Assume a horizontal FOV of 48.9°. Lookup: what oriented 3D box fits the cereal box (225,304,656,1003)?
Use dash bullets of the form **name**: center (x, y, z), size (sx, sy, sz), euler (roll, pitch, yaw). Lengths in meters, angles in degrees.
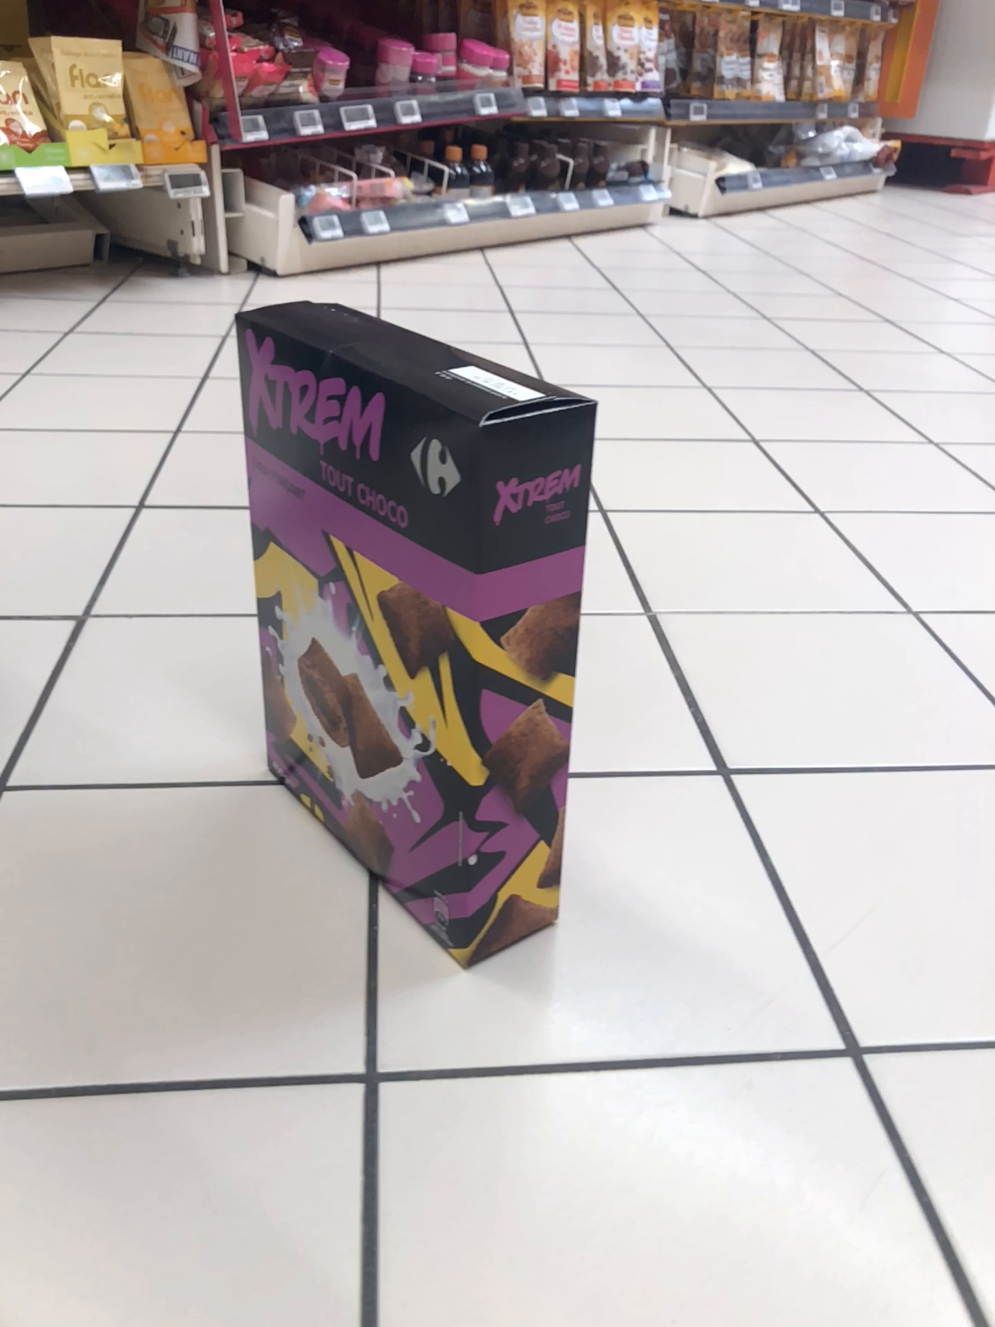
- **cereal box**: center (-0.038, -0.015, 0.486), size (0.070, 0.239, 0.200), euler (-17, 35, -32)
